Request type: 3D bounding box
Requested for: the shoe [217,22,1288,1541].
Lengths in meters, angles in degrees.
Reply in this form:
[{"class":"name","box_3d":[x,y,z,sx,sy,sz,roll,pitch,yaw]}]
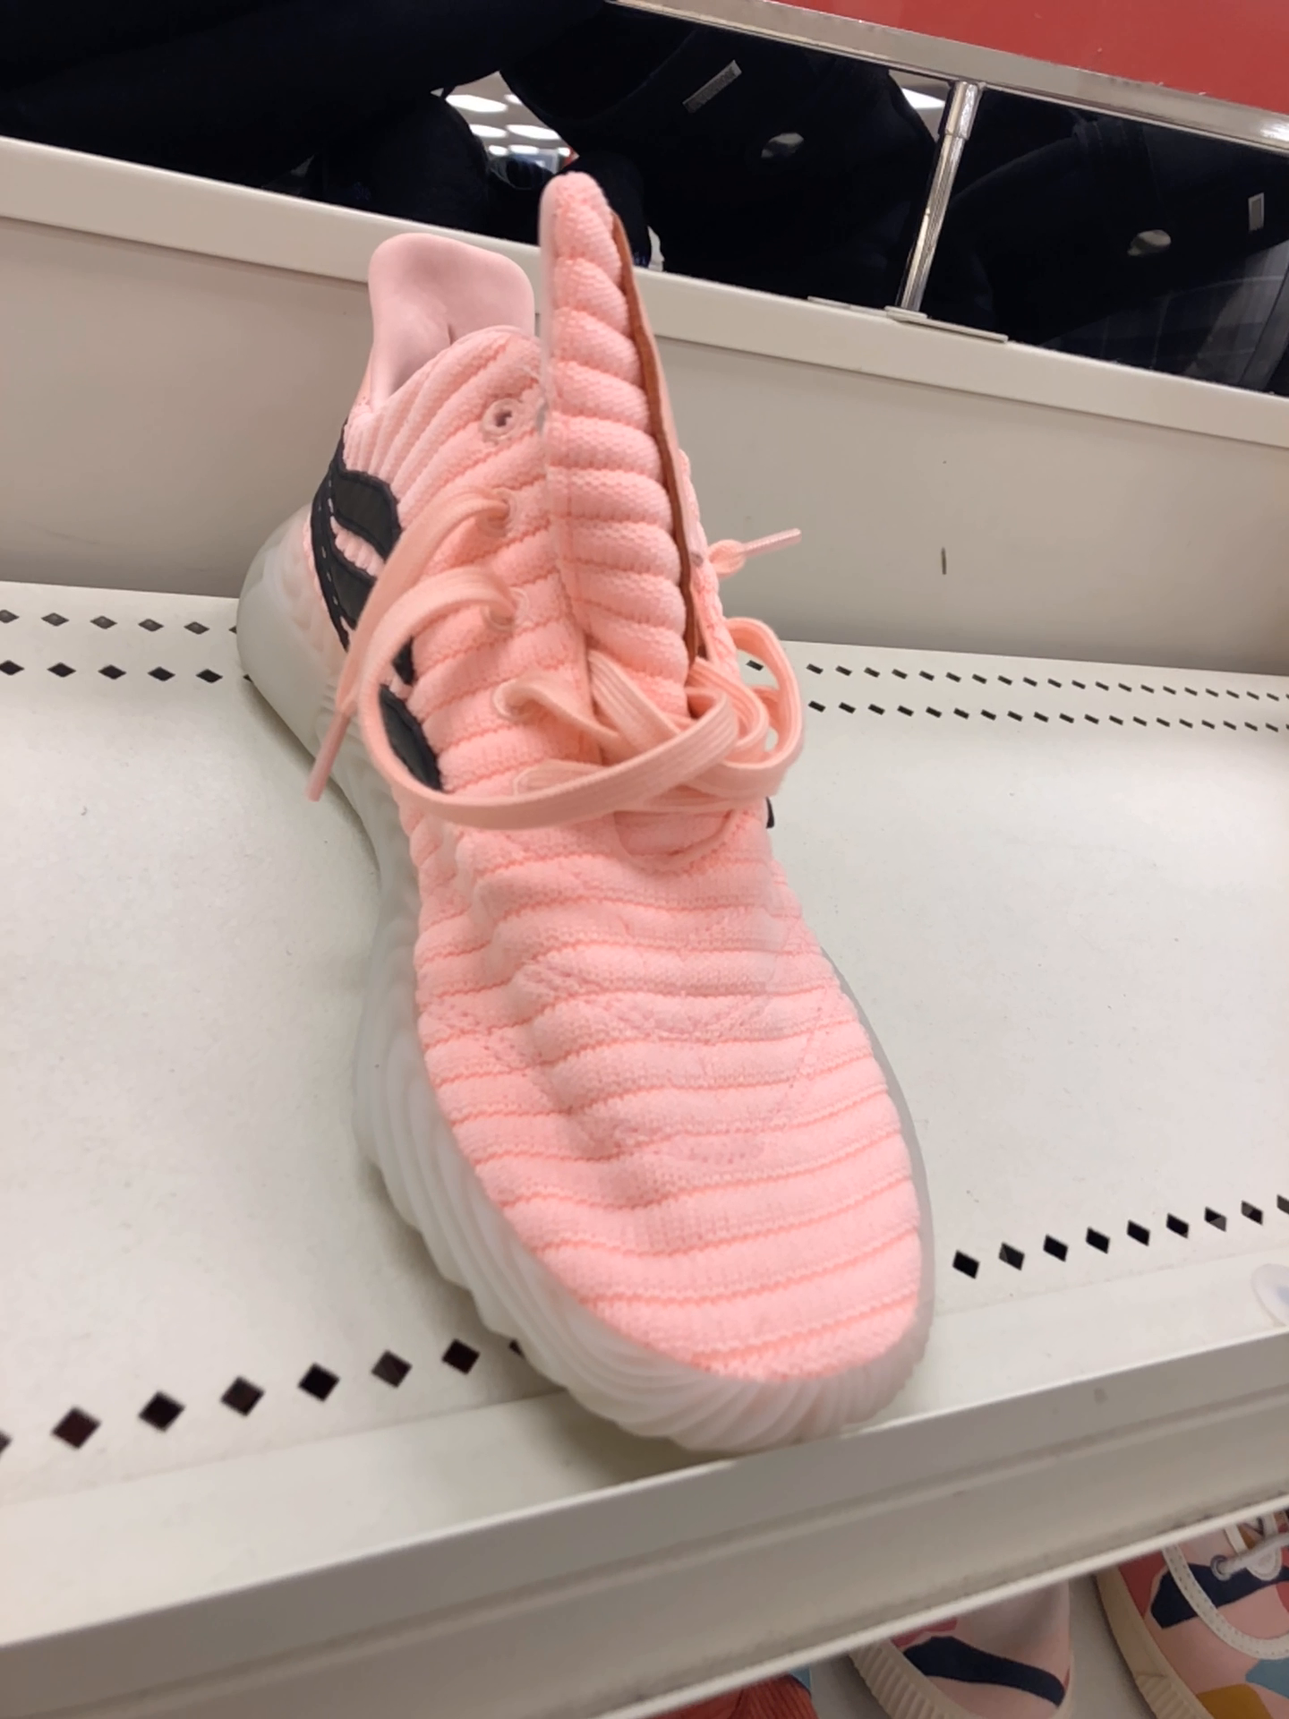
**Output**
[{"class":"shoe","box_3d":[-0.009,-0.057,0.321,0.120,0.169,0.322,1,35,-25]}]
